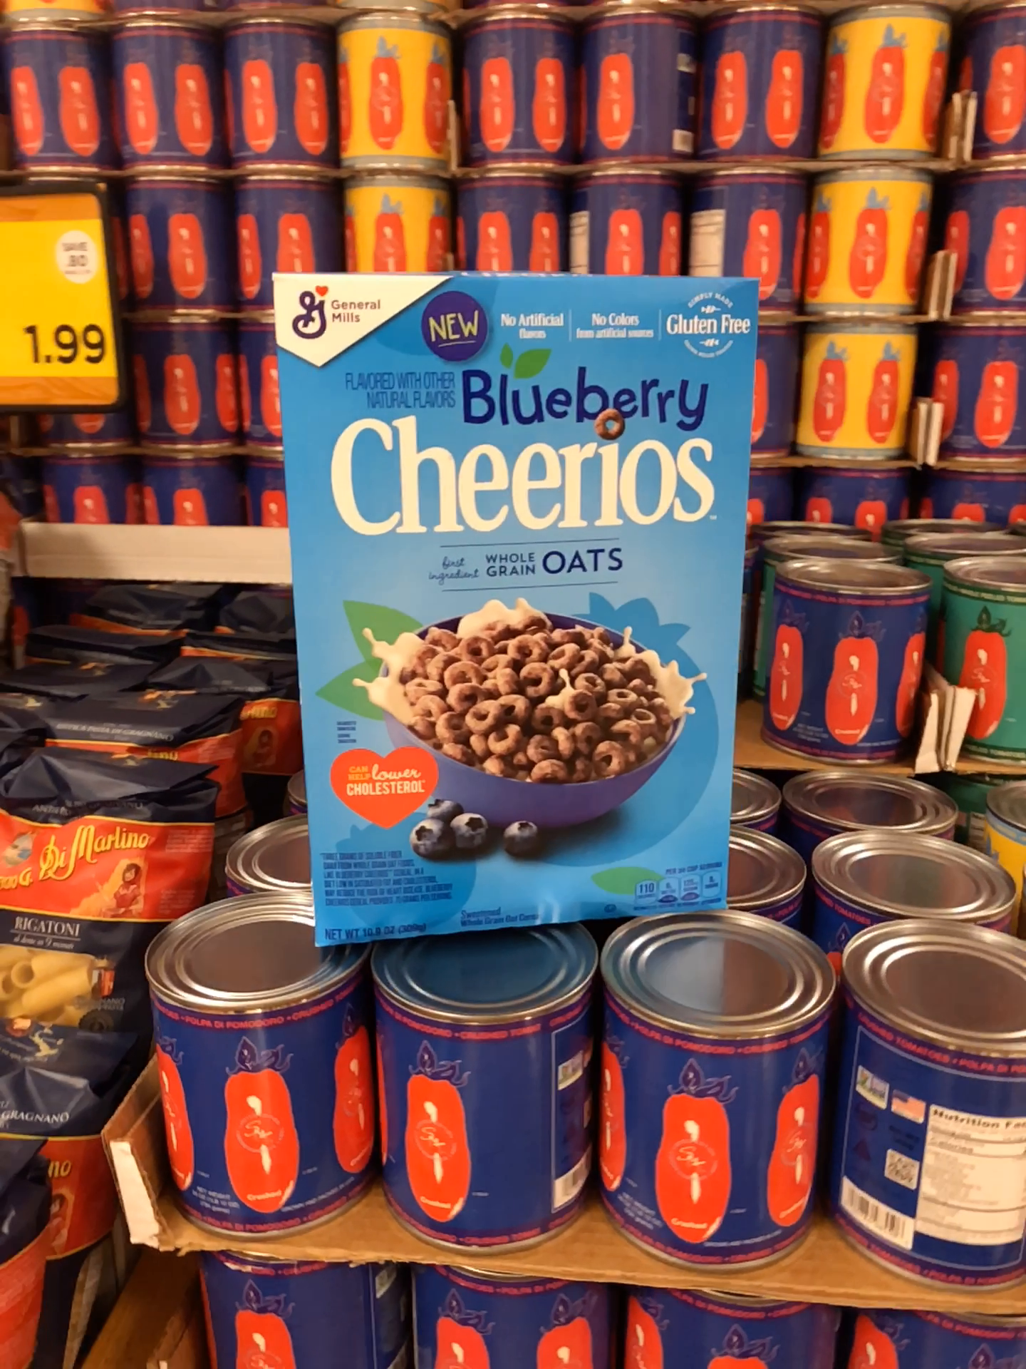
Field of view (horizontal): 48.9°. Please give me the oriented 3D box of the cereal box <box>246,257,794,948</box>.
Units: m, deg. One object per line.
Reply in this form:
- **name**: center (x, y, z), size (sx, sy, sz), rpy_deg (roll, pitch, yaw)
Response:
- **cereal box**: center (0.001, -0.035, 0.493), size (0.210, 0.278, 0.060), rpy_deg (-3, 17, -11)
